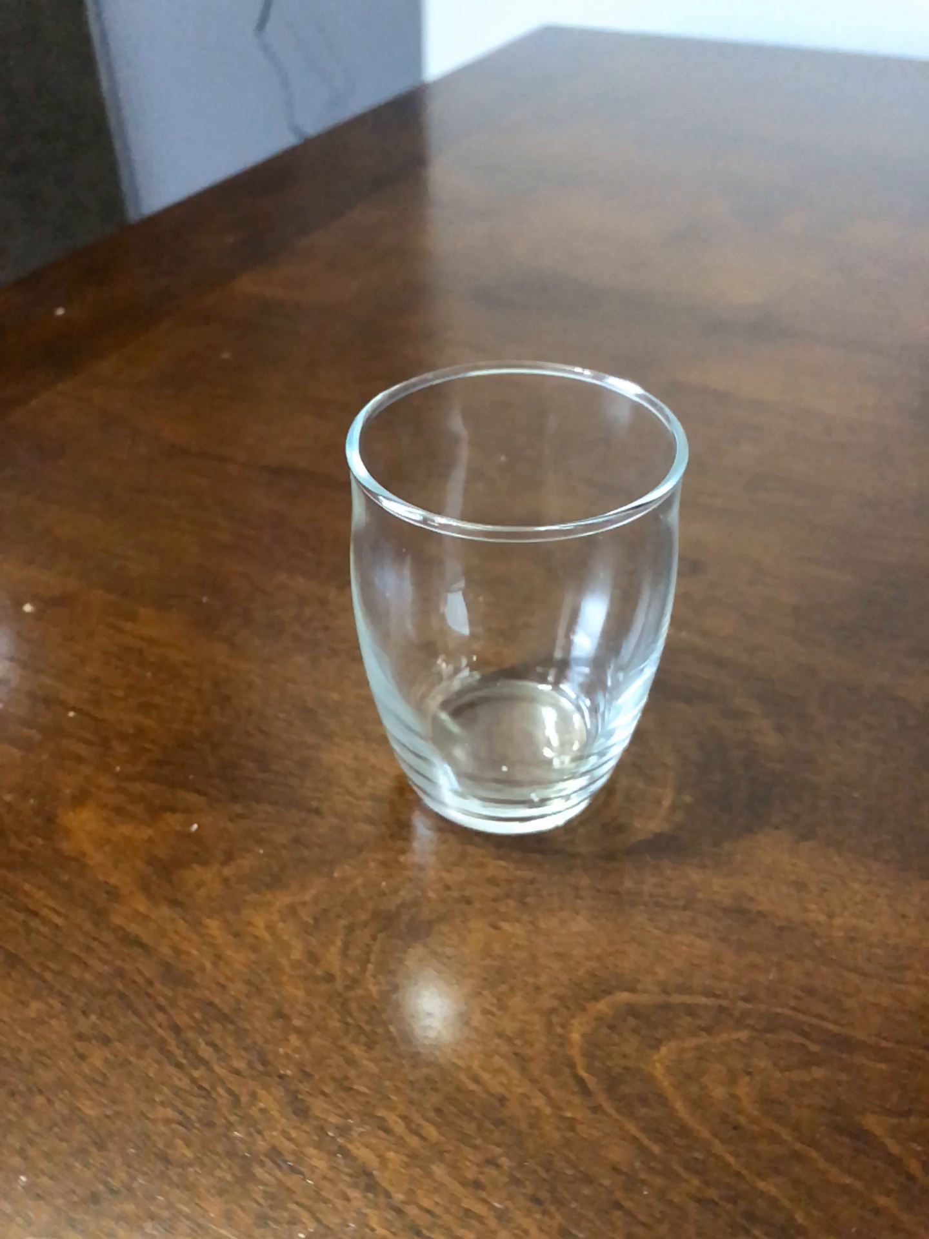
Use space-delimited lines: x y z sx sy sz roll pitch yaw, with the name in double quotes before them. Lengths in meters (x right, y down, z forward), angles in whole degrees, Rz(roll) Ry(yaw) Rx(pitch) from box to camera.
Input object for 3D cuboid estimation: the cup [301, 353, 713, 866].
"cup" 0.009 -0.003 0.198 0.060 0.070 0.060 0 39 0
